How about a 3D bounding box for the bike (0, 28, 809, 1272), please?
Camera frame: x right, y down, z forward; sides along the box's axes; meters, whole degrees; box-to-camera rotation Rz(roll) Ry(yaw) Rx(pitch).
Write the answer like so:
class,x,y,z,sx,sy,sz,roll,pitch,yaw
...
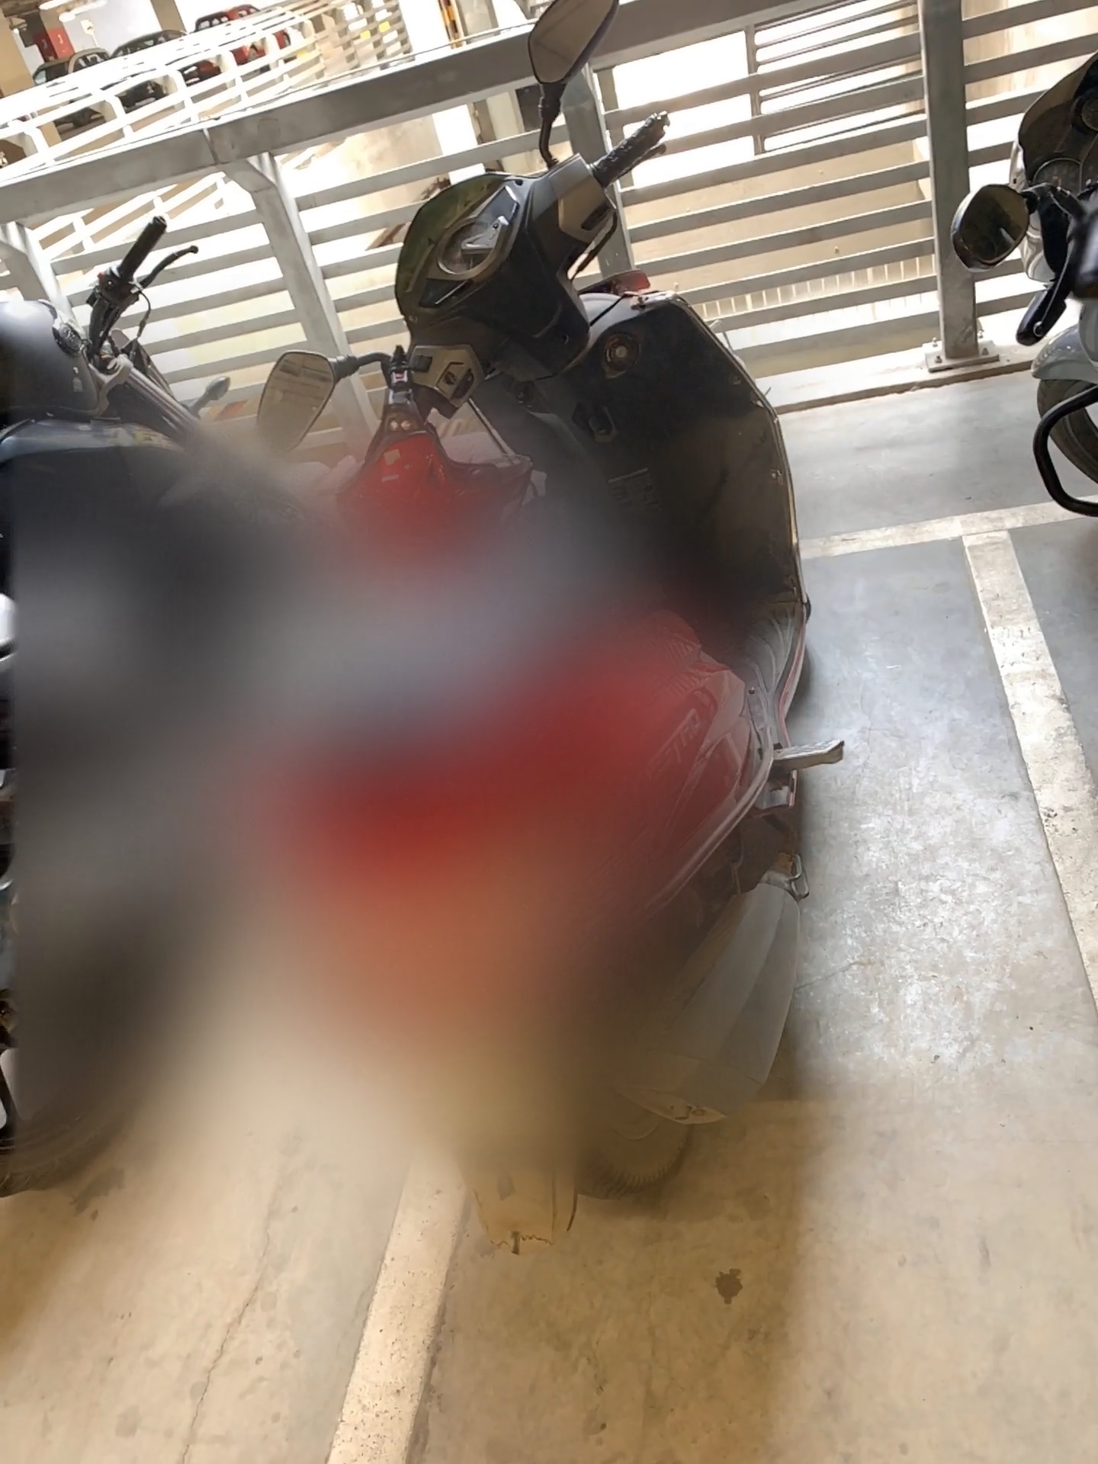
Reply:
class,x,y,z,sx,sy,sz,roll,pitch,yaw
bike,-0.033,-0.308,1.930,0.725,1.164,1.857,-7,37,16
